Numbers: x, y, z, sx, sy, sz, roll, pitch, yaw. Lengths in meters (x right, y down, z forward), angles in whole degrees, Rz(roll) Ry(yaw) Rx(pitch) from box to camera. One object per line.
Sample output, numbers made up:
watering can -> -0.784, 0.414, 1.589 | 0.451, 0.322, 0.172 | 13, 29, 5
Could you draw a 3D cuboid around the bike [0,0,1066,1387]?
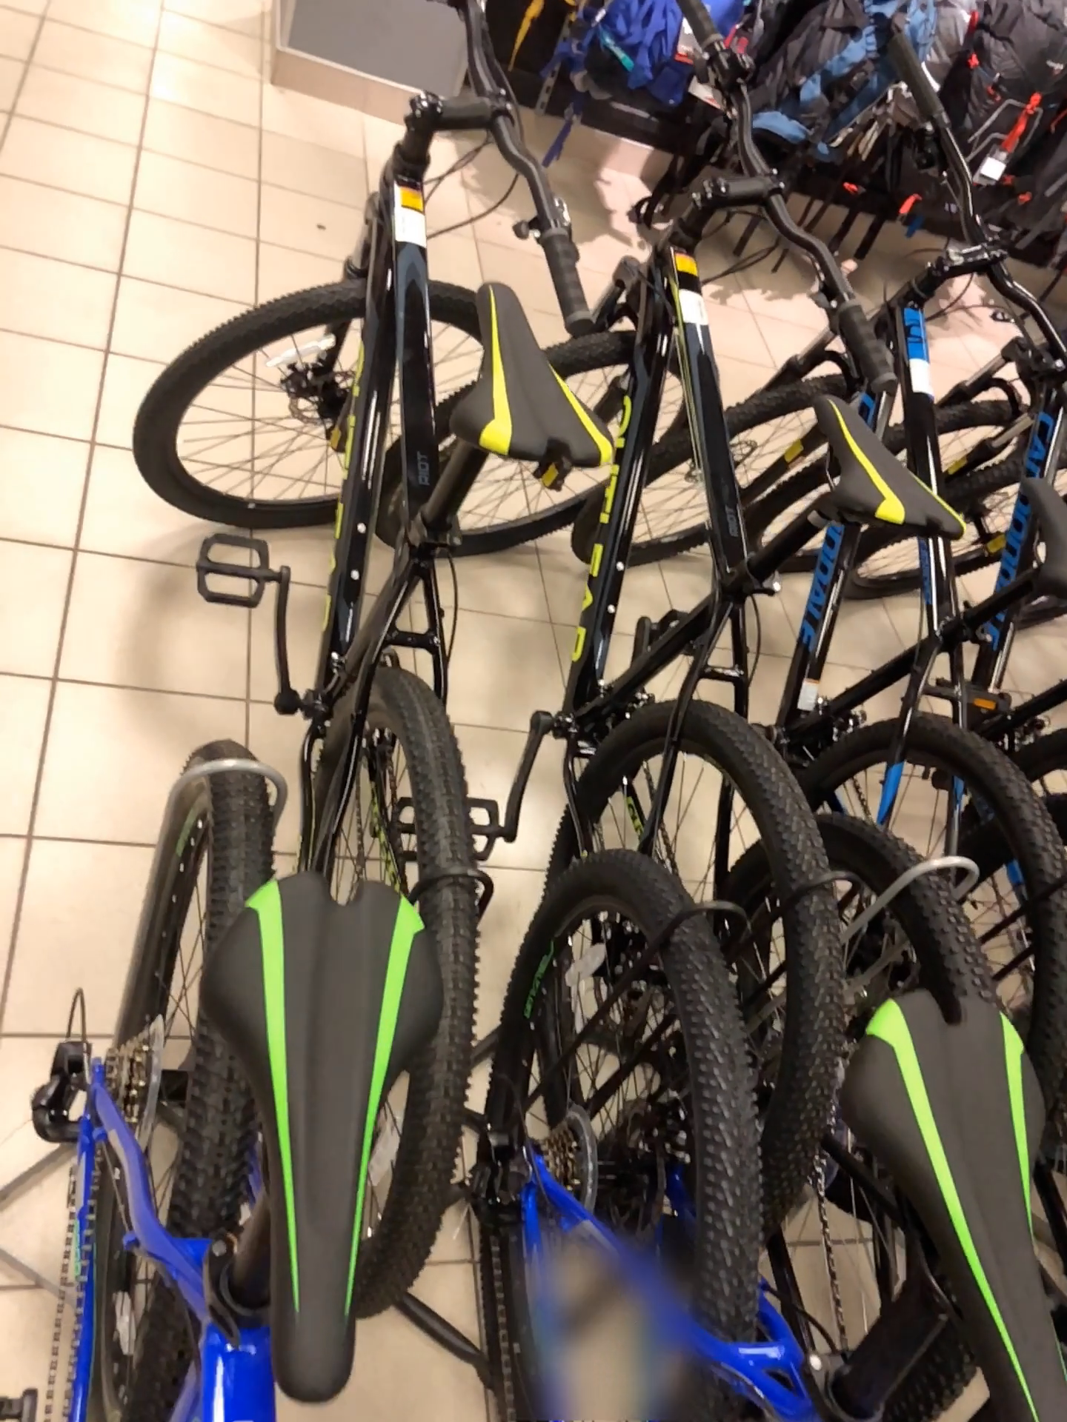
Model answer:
bike -> -0.363, -0.104, 1.306 | 0.662, 1.044, 1.356 | -1, 49, -27
